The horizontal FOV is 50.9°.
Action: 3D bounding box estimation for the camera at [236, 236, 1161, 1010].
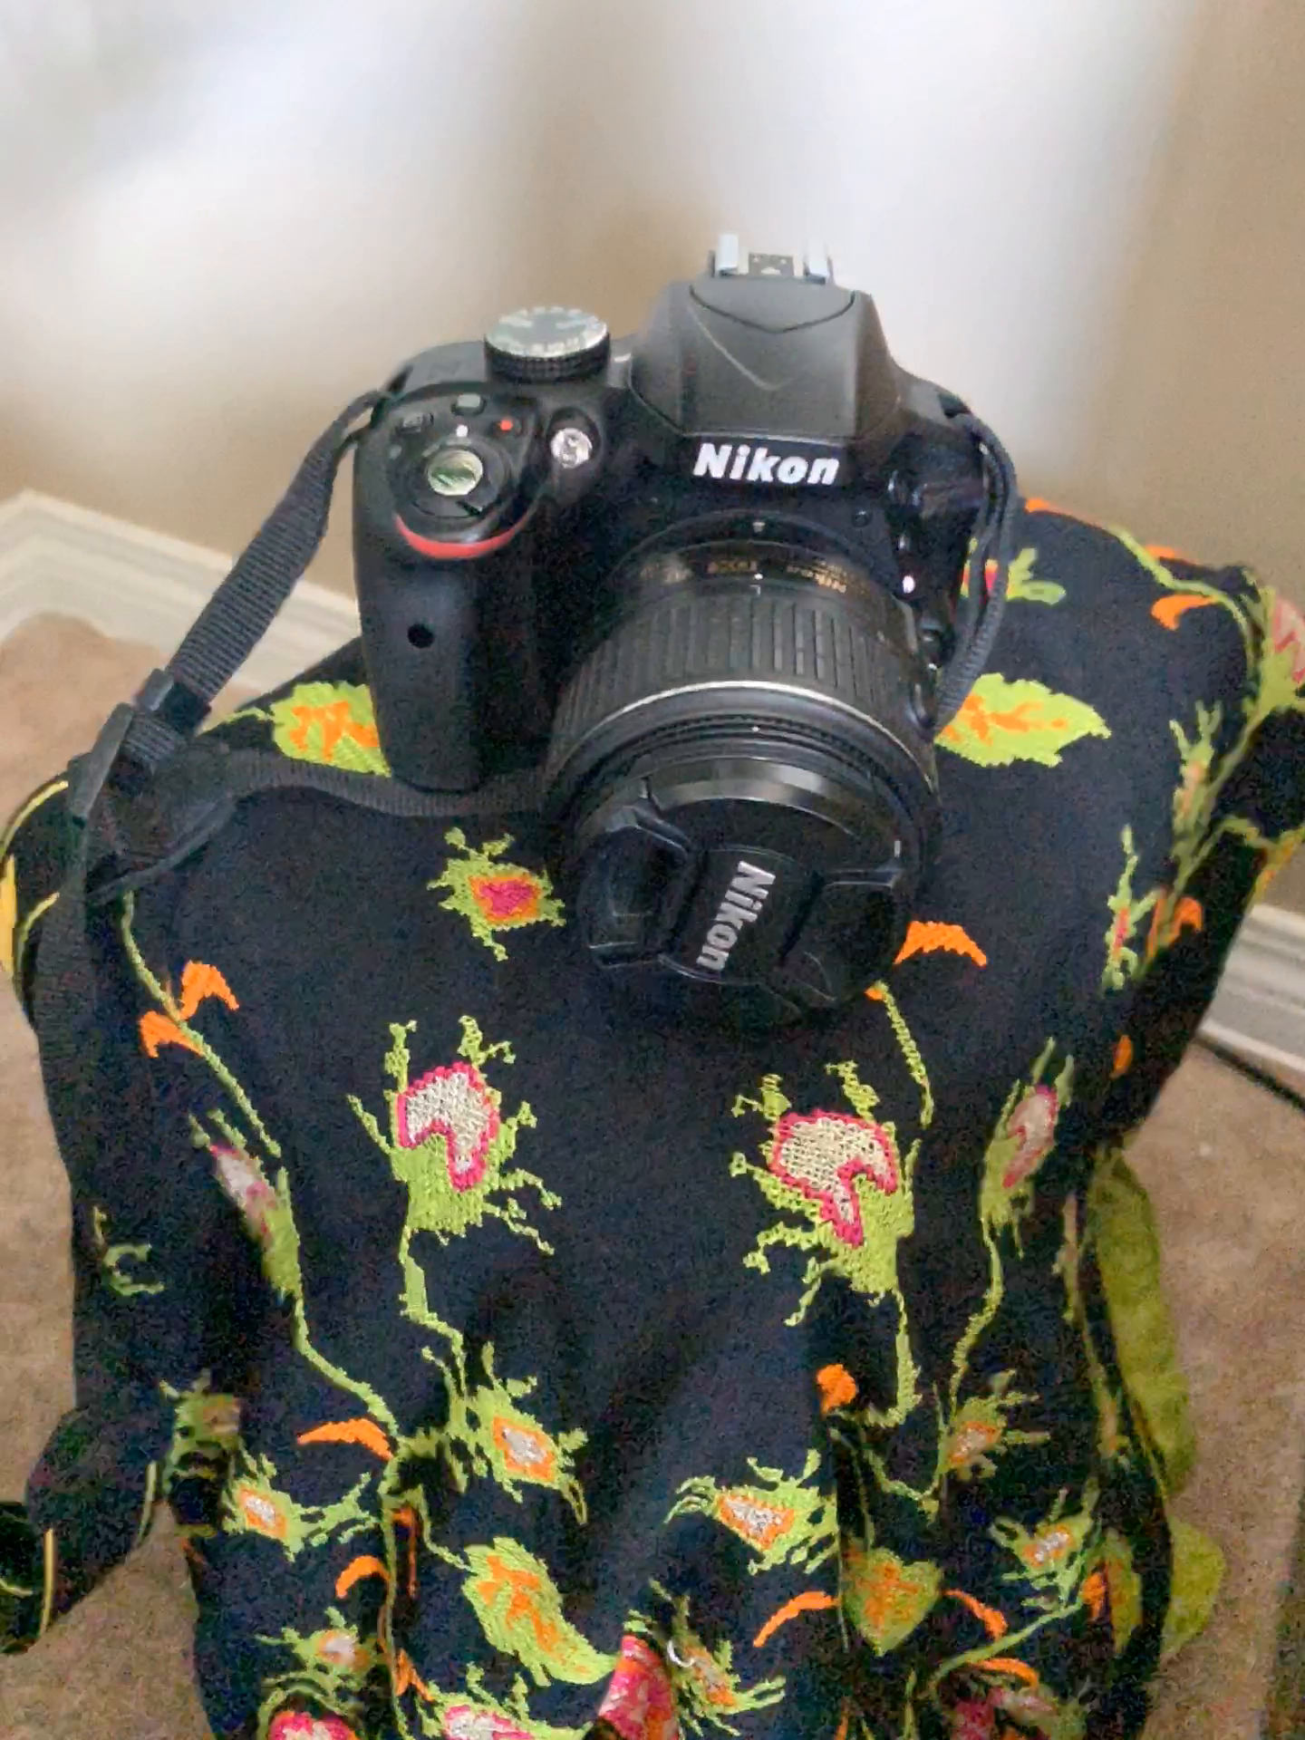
[{"bbox_3d":[0.005,-0.044,0.245,0.120,0.099,0.091,2,42,-1],"label":"camera"}]
